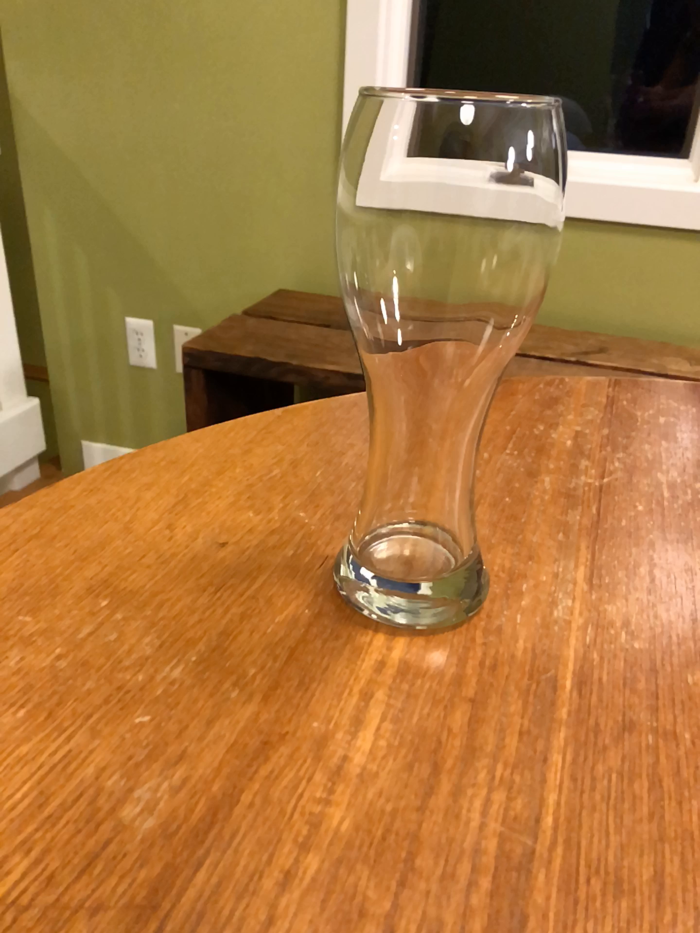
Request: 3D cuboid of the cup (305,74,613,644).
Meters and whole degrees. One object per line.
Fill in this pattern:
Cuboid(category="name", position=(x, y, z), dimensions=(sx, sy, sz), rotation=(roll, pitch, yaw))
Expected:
Cuboid(category="cup", position=(0.034, -0.043, 0.335), dimensions=(0.093, 0.222, 0.088), rotation=(2, 27, -1))
